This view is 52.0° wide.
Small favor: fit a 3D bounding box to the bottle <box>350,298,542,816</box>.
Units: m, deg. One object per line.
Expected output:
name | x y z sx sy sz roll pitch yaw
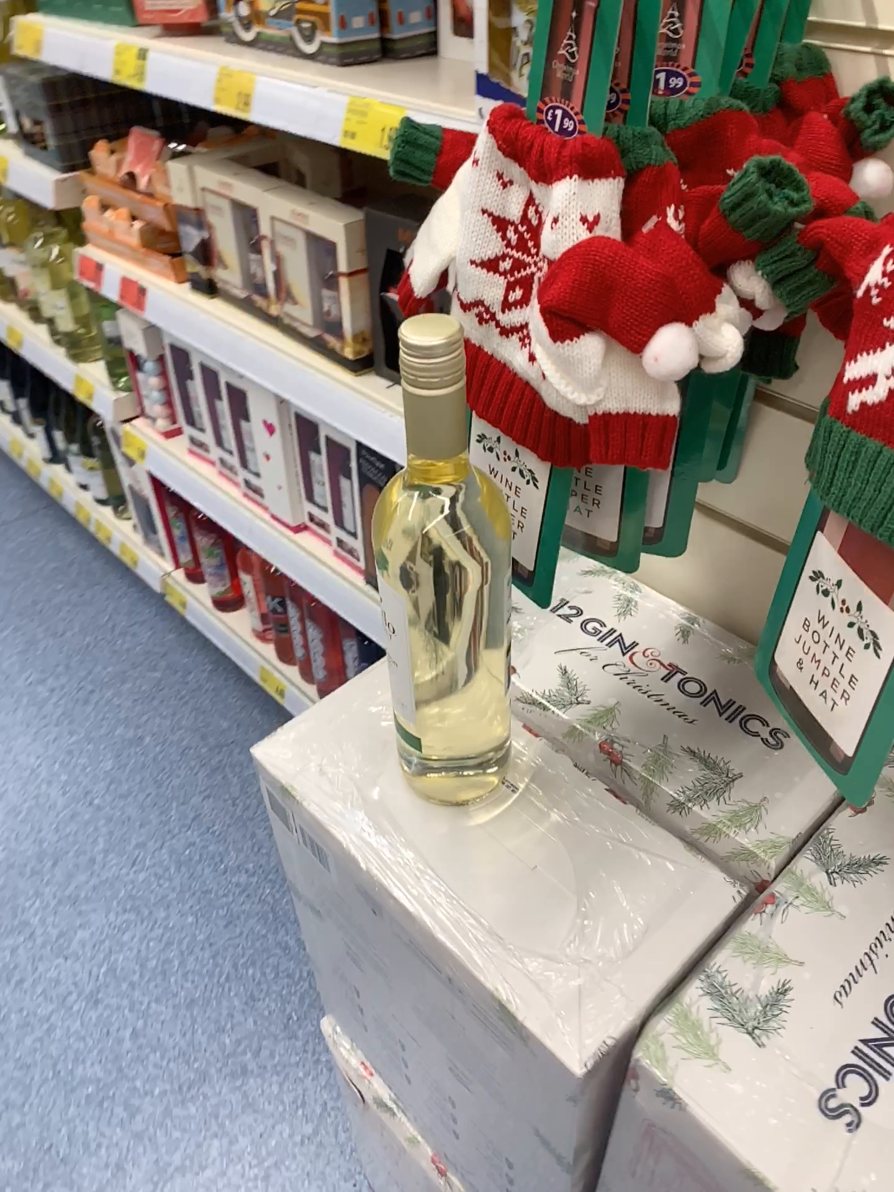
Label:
bottle | 0.000 -0.005 0.497 0.073 0.285 0.073 -1 39 1
